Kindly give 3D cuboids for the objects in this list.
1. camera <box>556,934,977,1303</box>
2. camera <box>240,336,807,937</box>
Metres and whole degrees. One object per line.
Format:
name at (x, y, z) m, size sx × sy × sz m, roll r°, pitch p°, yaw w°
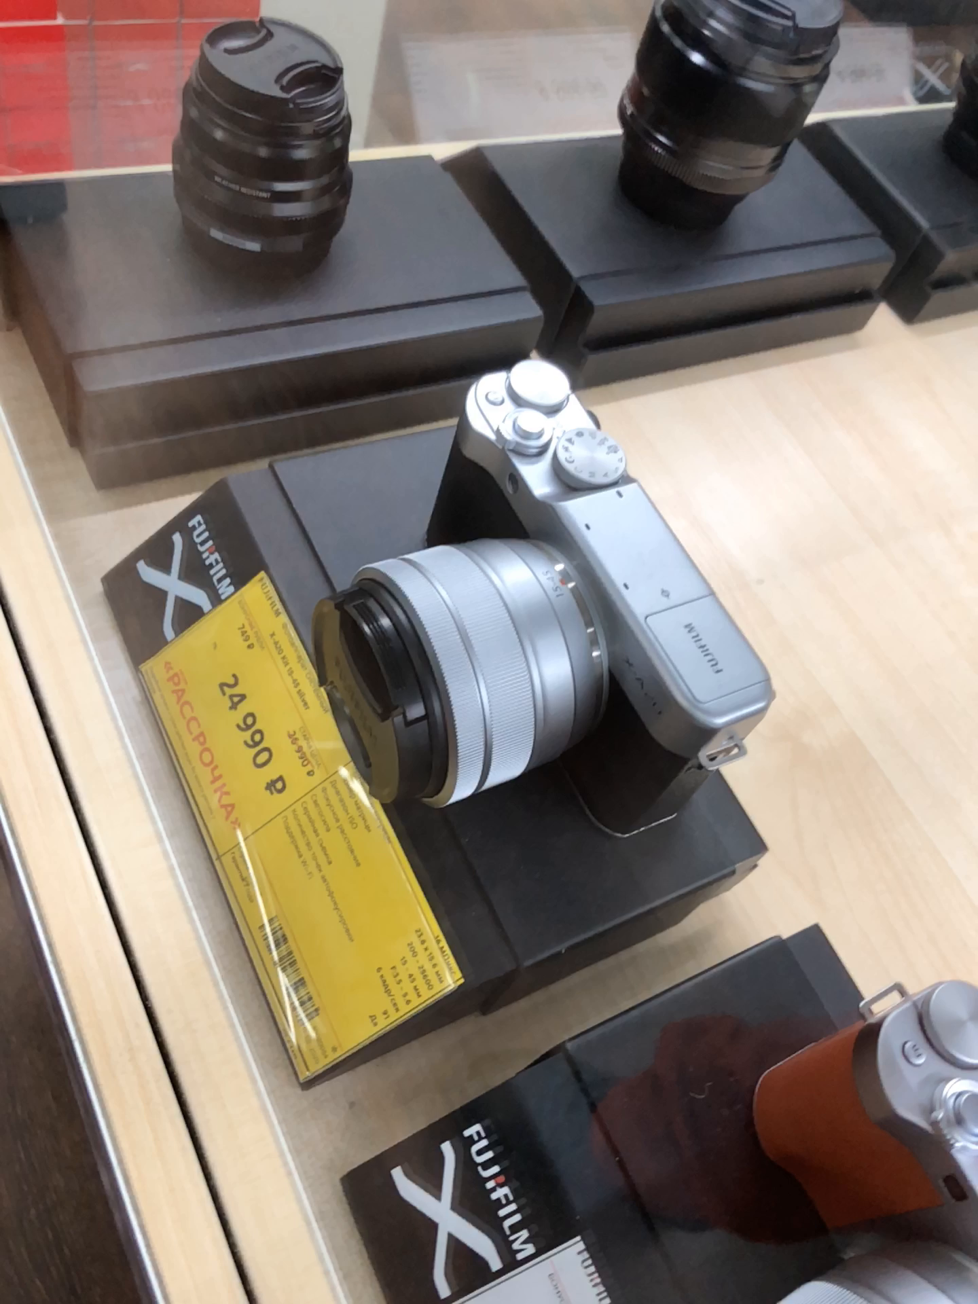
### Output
camera at (0.090, 0.142, 0.215) m, size 0.088 × 0.073 × 0.128 m, roll -16°, pitch 63°, yaw -26°
camera at (0.000, -0.008, 0.285) m, size 0.088 × 0.073 × 0.120 m, roll -16°, pitch 63°, yaw -26°
